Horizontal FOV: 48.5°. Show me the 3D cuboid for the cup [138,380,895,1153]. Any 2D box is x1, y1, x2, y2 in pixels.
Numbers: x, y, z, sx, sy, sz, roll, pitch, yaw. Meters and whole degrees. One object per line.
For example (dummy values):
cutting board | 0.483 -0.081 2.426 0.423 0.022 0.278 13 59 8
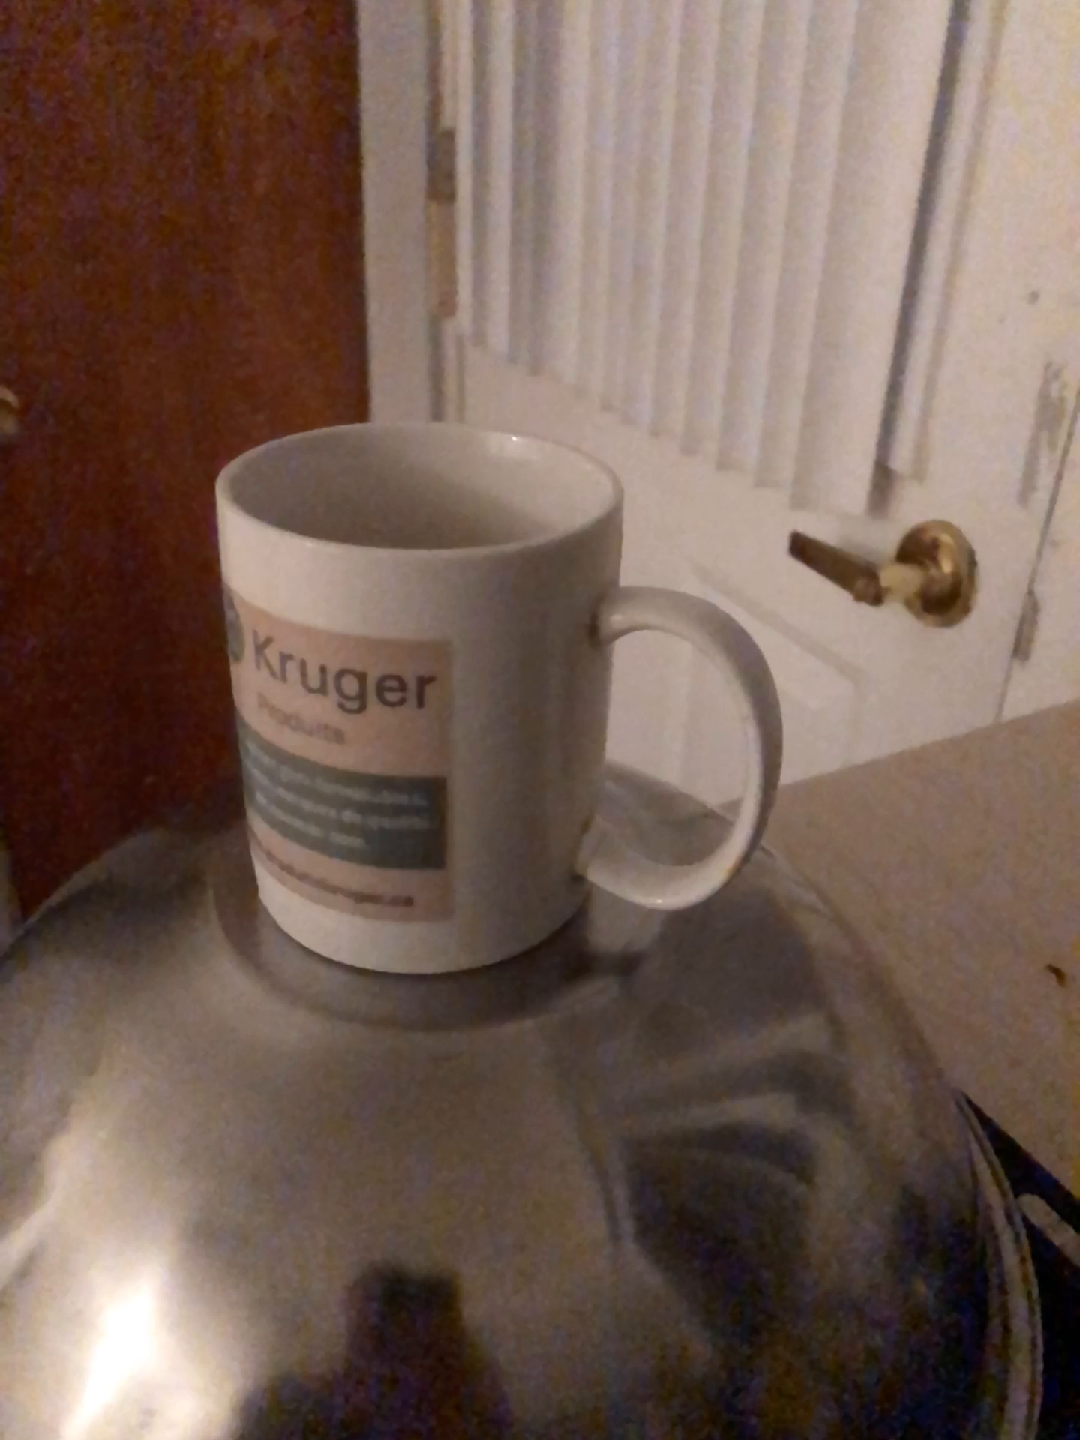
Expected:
cup | -0.005 -0.001 0.264 0.120 0.109 0.091 19 34 27
